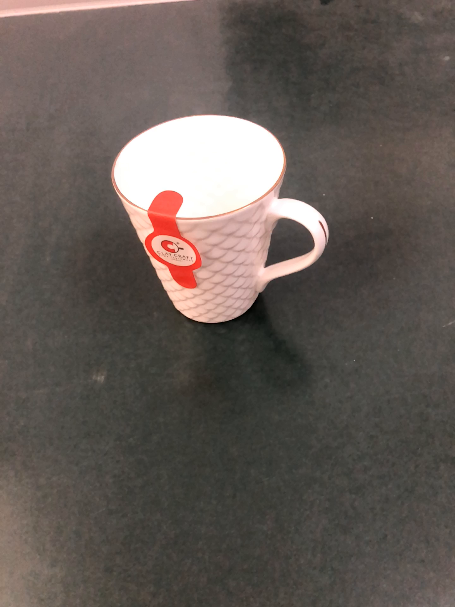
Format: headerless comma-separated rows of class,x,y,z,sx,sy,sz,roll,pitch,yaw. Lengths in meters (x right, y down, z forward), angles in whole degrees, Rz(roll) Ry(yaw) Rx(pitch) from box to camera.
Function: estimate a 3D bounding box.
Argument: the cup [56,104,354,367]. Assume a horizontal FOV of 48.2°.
cup,-0.005,-0.038,0.274,0.120,0.090,0.080,14,53,16
